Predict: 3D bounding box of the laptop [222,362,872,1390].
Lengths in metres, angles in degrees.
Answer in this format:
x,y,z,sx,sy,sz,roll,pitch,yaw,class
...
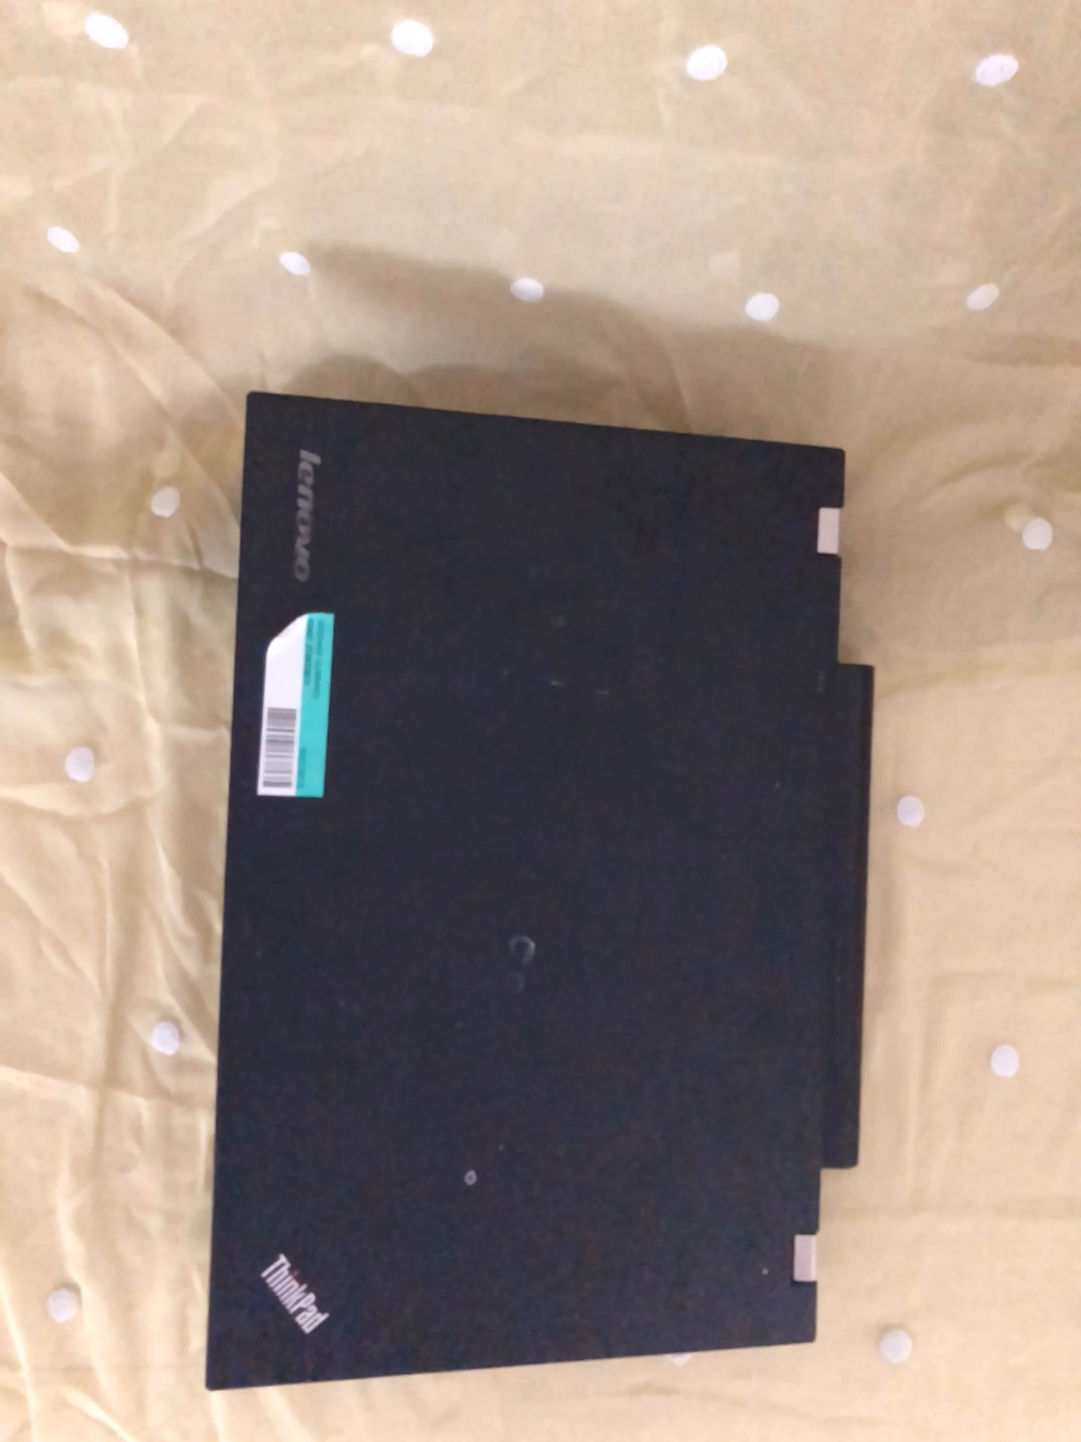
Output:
x,y,z,sx,sy,sz,roll,pitch,yaw,class
0.001,0.058,0.470,0.225,0.050,0.355,4,90,1,laptop
